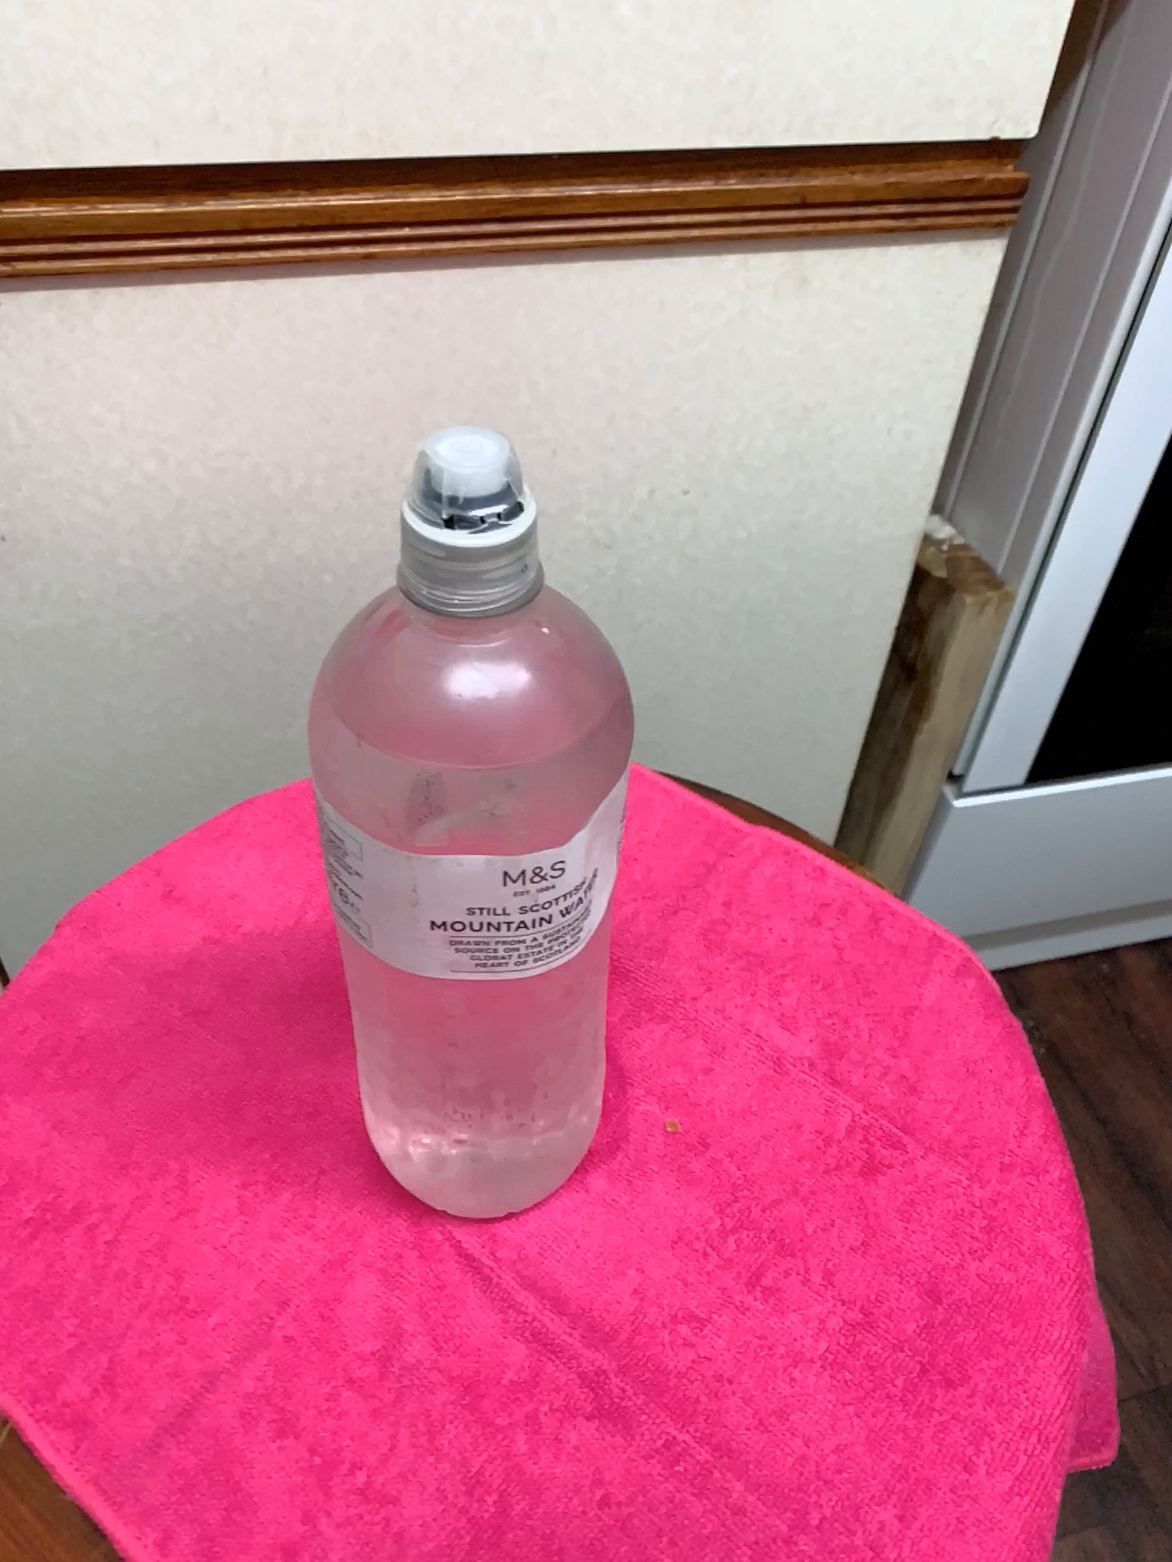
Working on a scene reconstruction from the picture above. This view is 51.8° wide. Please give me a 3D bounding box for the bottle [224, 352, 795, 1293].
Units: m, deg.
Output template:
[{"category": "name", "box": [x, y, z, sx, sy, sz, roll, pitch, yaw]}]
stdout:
[{"category": "bottle", "box": [-0.024, 0.029, 0.336, 0.090, 0.258, 0.081, -20, 49, -24]}]
